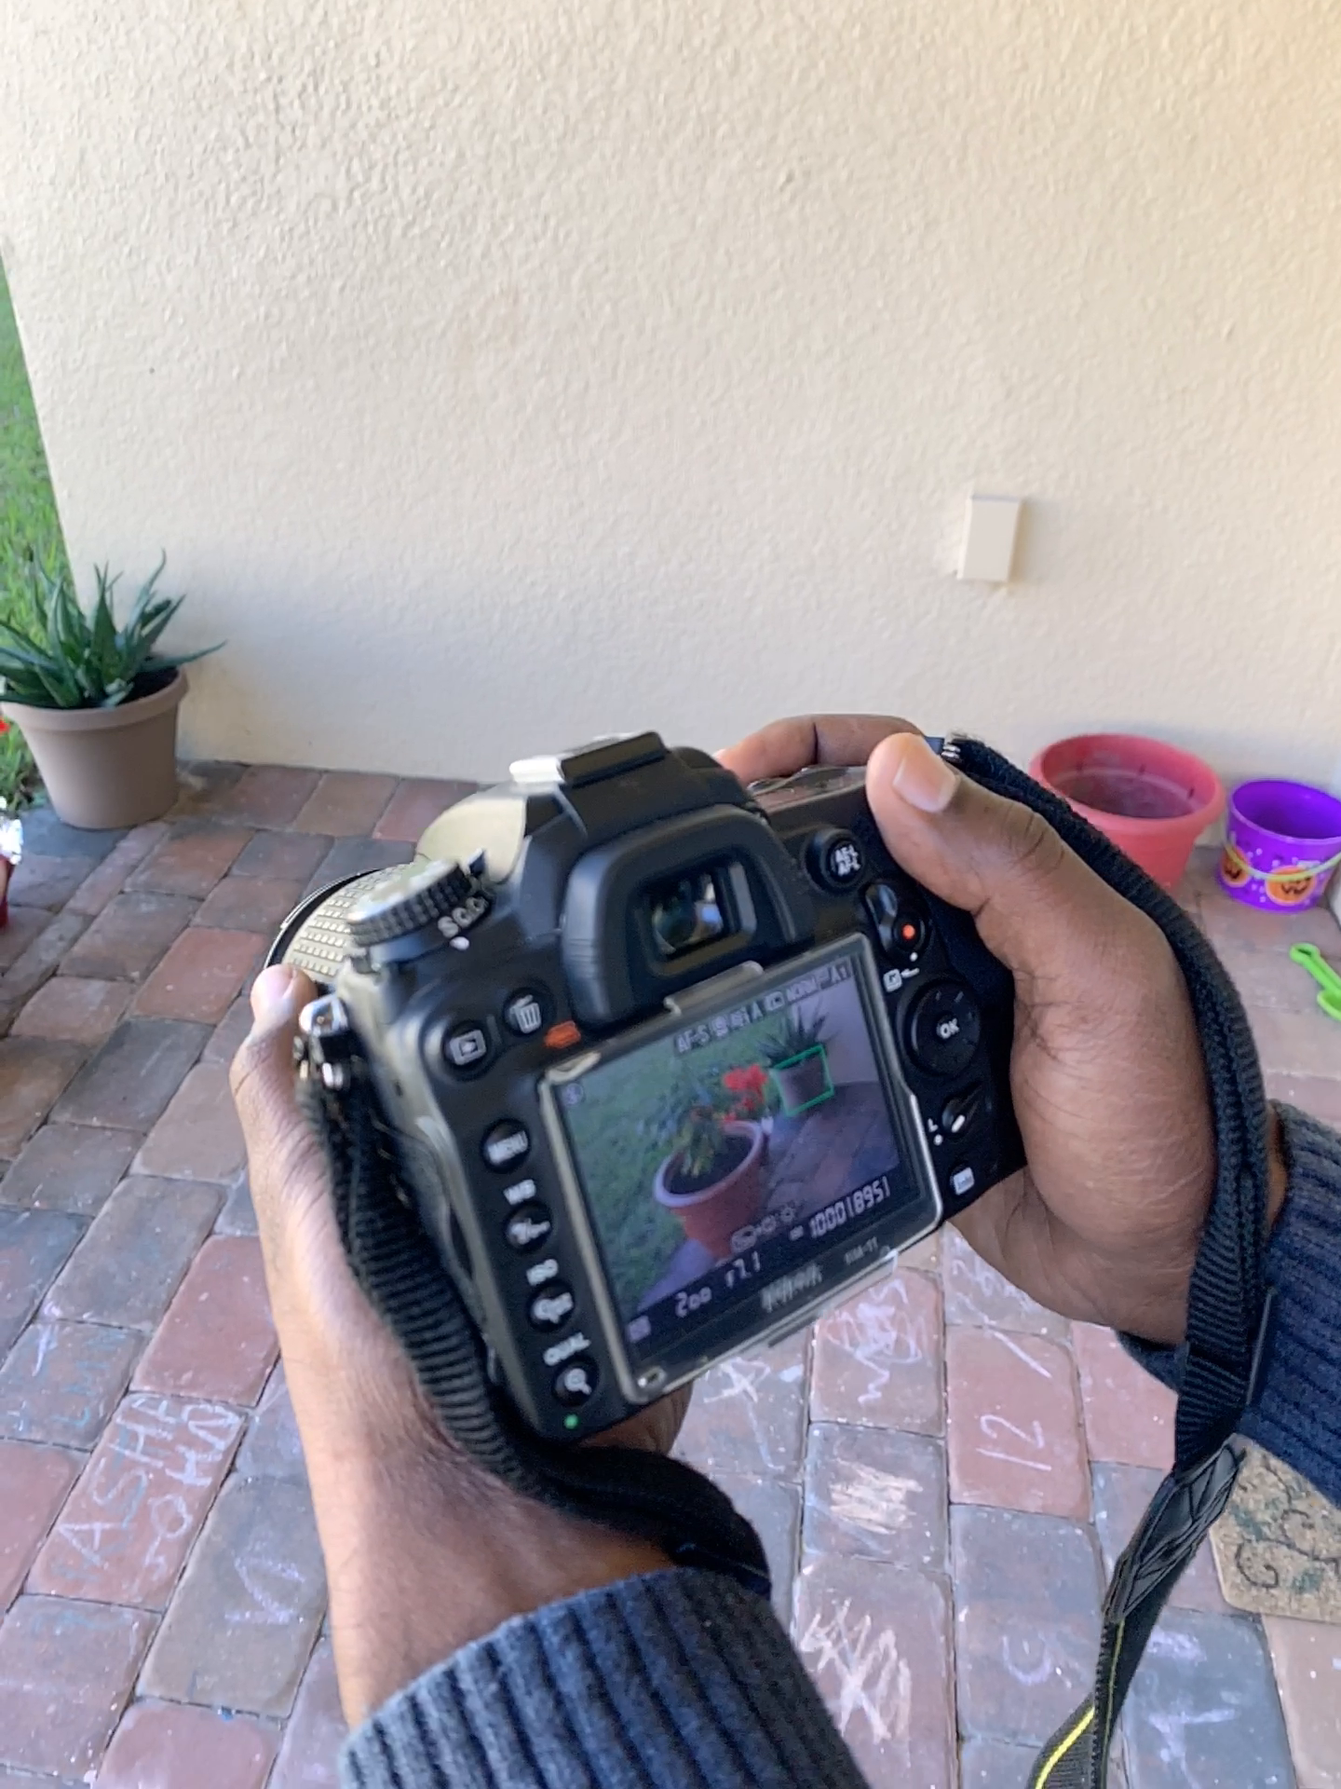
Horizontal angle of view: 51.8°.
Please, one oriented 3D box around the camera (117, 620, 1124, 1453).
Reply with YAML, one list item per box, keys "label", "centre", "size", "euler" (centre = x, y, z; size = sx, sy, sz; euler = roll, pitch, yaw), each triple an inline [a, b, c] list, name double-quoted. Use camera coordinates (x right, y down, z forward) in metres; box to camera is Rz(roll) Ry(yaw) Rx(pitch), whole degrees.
- label: "camera"
  centre: [-0.028, 0.013, 0.319]
  size: [0.131, 0.100, 0.200]
  euler: [-21, 13, -29]
